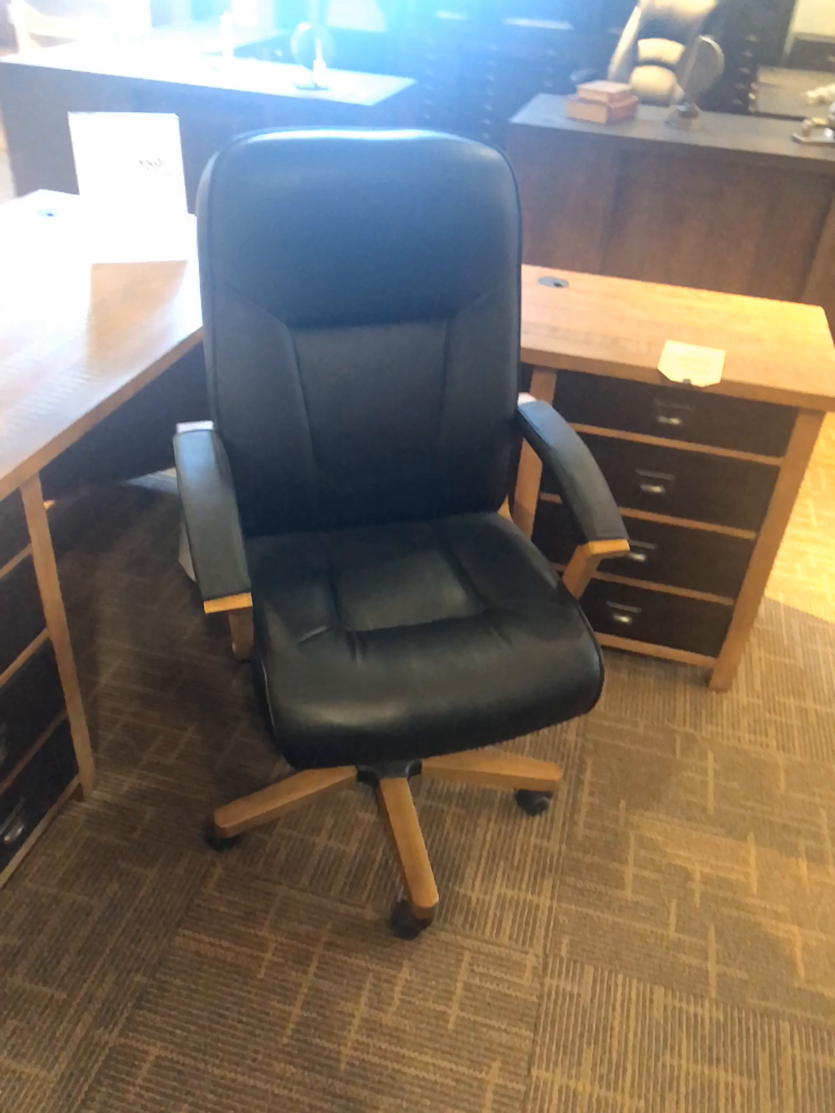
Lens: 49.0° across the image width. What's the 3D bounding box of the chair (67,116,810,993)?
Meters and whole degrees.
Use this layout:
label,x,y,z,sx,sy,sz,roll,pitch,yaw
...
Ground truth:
label,x,y,z,sx,sy,sz,roll,pitch,yaw
chair,-0.073,-0.027,1.479,0.739,1.104,0.745,-6,37,-14
